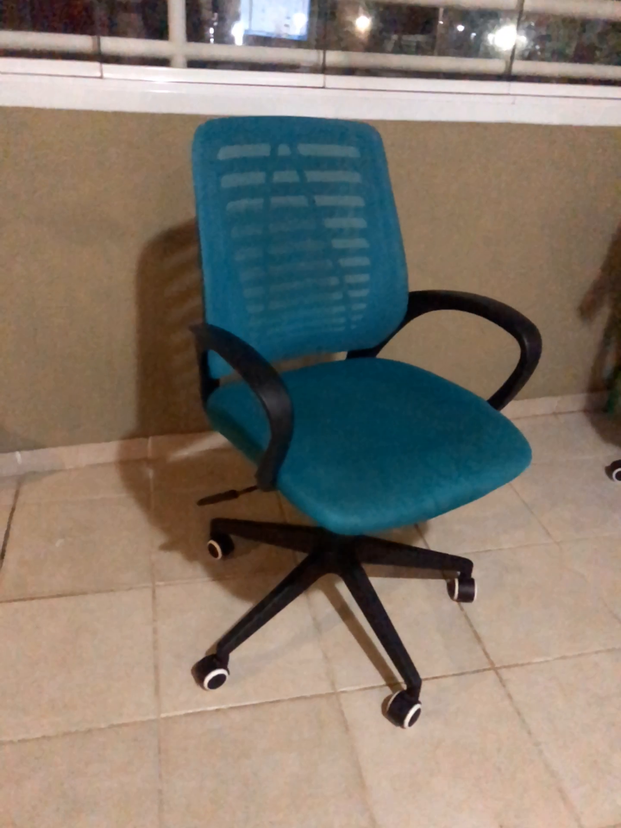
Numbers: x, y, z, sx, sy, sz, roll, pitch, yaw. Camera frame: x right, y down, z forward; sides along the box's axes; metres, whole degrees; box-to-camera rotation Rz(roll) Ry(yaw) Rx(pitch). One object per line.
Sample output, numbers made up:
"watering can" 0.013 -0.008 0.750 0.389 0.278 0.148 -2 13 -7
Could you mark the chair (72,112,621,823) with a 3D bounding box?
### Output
"chair" 0.068 -0.009 1.273 0.712 0.923 0.744 -14 35 -29
